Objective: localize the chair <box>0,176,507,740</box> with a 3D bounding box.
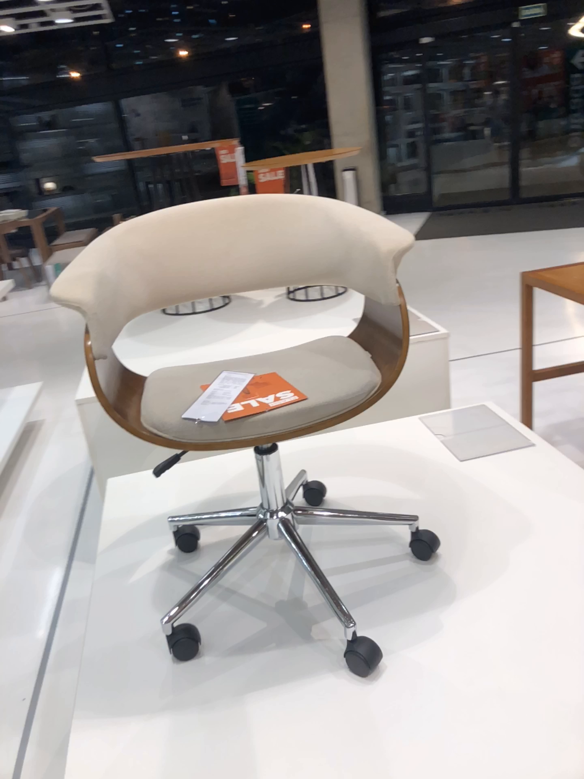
[{"bbox_3d":[-0.060,0.029,1.215,0.630,0.725,0.674,-11,21,-9],"label":"chair"}]
